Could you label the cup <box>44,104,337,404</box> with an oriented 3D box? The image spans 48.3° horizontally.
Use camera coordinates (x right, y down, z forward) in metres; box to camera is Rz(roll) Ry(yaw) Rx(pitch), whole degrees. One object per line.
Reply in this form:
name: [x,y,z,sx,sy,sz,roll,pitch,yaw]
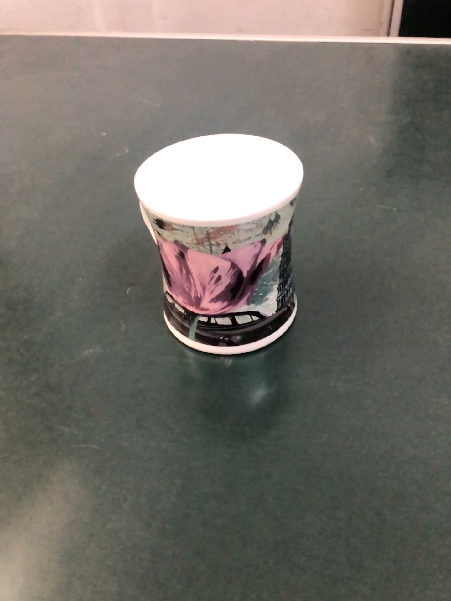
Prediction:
cup: [-0.015,-0.032,0.293,0.120,0.110,0.090,26,52,29]
